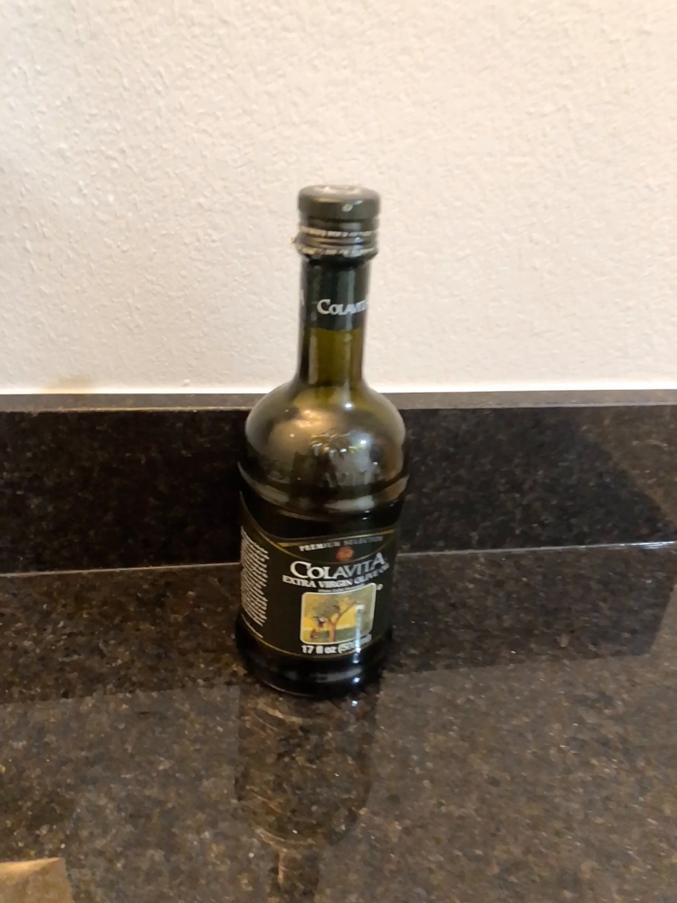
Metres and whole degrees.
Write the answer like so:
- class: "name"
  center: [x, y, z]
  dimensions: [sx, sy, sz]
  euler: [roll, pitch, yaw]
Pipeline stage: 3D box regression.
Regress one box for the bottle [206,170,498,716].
- class: "bottle"
  center: [-0.008, -0.001, 0.333]
  dimensions: [0.090, 0.219, 0.090]
  euler: [3, 29, -2]
